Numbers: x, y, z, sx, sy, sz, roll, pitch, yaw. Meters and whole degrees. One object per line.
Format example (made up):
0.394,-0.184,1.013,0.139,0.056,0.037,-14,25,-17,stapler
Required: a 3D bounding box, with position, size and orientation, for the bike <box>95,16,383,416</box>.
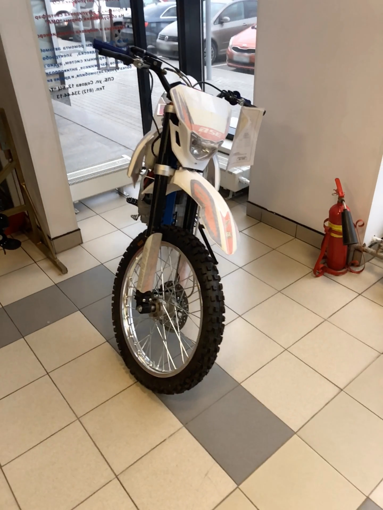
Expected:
0.098,-0.408,2.124,0.842,1.219,1.855,-5,34,-4,bike
